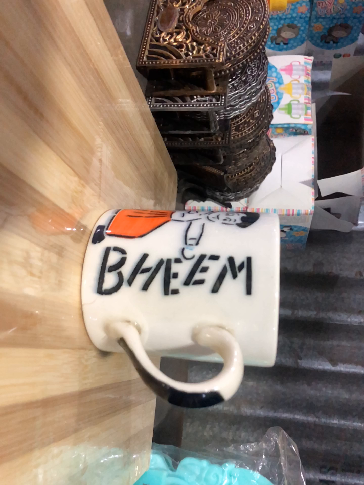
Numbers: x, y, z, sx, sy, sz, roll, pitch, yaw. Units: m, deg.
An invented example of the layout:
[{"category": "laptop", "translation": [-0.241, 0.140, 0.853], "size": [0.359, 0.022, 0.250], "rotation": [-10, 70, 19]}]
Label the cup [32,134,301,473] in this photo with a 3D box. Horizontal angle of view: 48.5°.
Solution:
[{"category": "cup", "translation": [0.007, 0.020, 0.195], "size": [0.120, 0.080, 0.100], "rotation": [-75, 165, -51]}]
